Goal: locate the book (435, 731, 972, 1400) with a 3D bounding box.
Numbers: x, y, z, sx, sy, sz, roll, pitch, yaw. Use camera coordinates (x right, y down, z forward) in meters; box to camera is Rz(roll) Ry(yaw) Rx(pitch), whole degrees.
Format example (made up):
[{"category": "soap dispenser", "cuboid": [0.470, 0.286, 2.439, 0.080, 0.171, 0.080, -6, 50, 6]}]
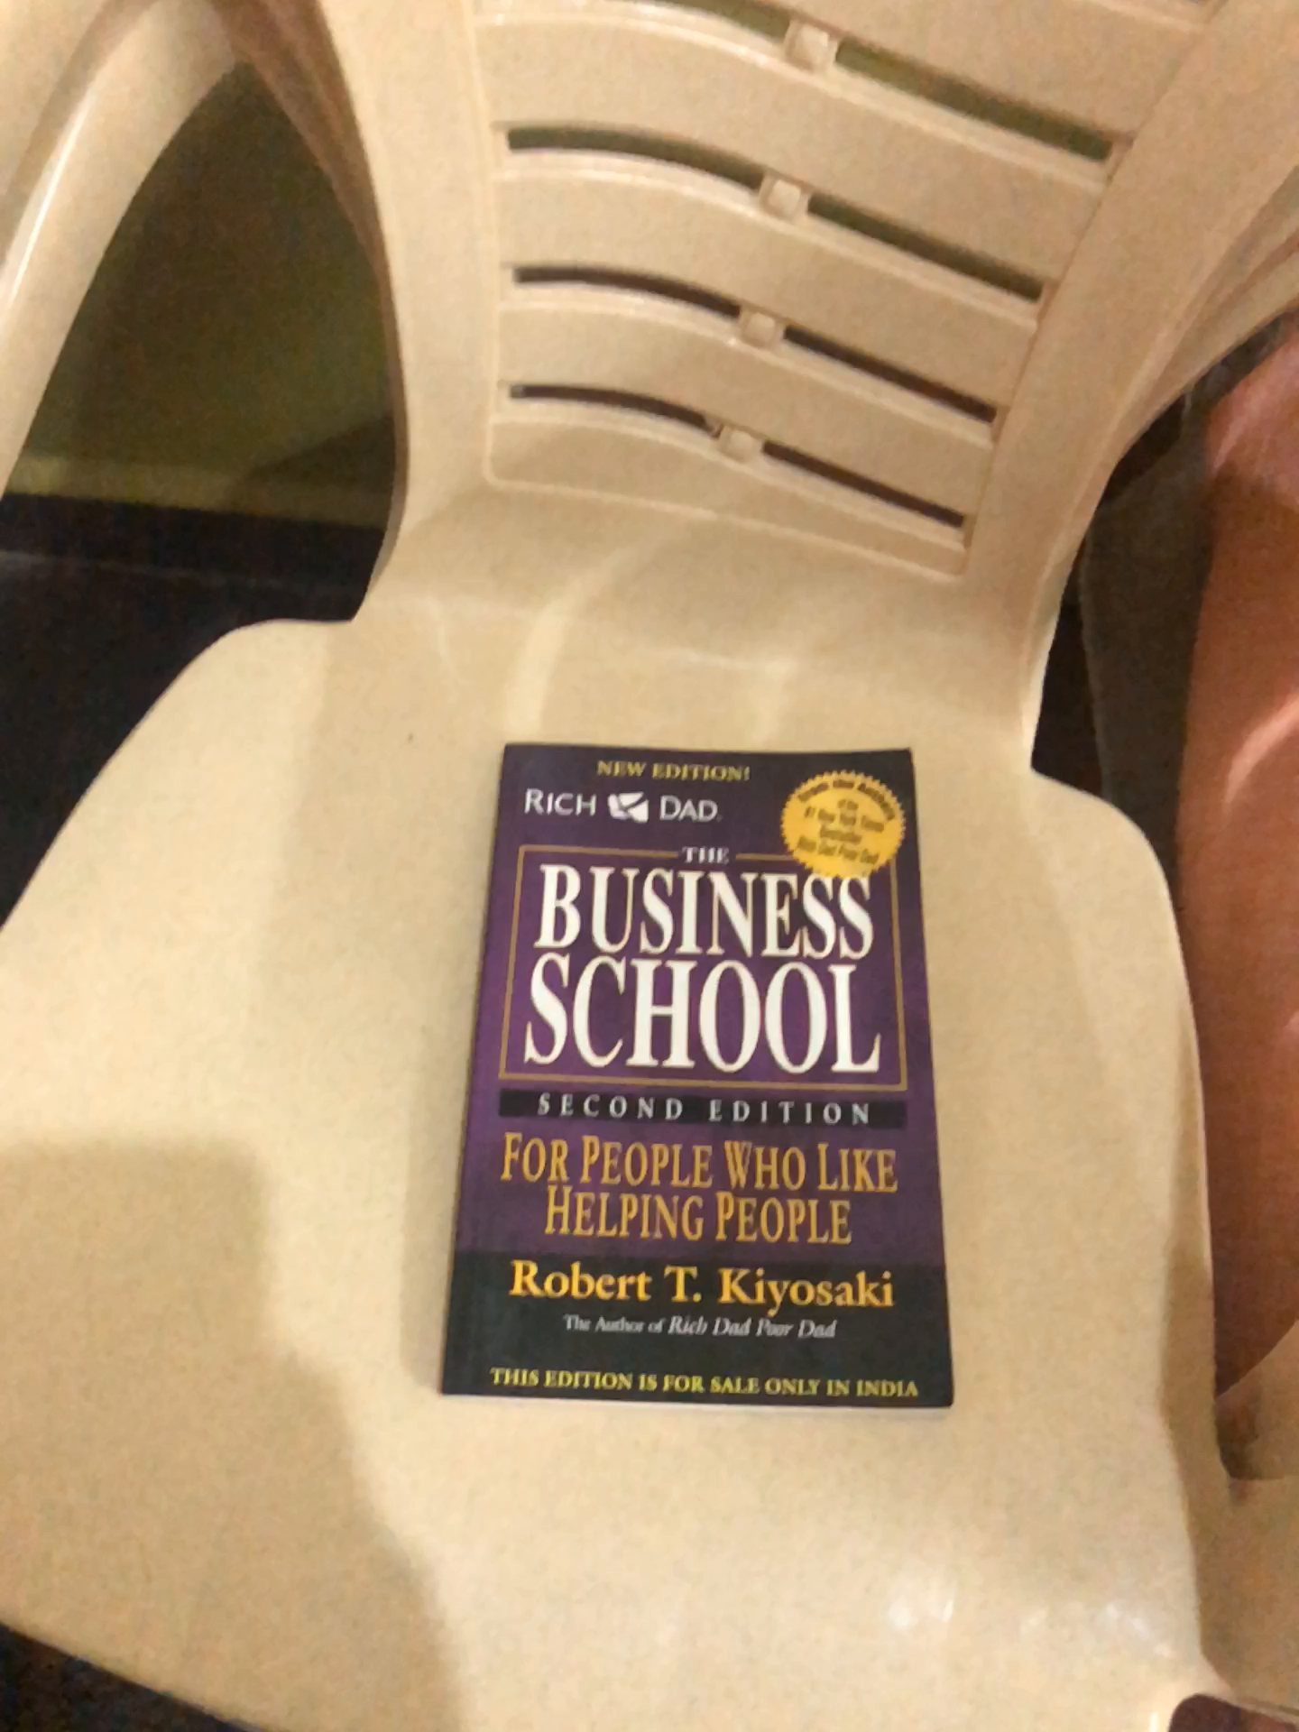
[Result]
[{"category": "book", "cuboid": [0.020, 0.063, 0.505, 0.170, 0.020, 0.230, 1, 69, 0]}]
